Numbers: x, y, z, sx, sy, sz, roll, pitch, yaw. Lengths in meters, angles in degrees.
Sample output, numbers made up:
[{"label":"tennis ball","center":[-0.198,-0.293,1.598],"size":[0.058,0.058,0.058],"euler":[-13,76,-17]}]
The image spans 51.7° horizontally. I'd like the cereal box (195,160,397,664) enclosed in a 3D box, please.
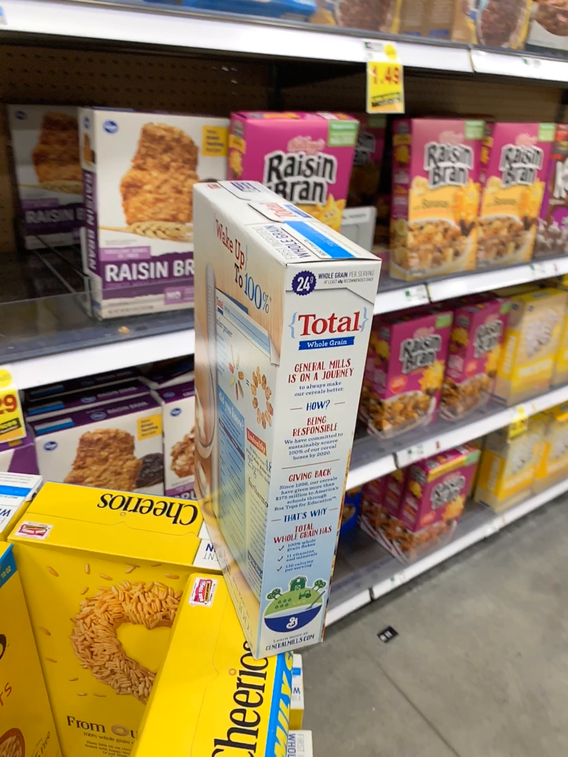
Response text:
[{"label":"cereal box","center":[-0.016,0.015,0.432],"size":[0.050,0.298,0.211],"euler":[-5,30,-20]}]
